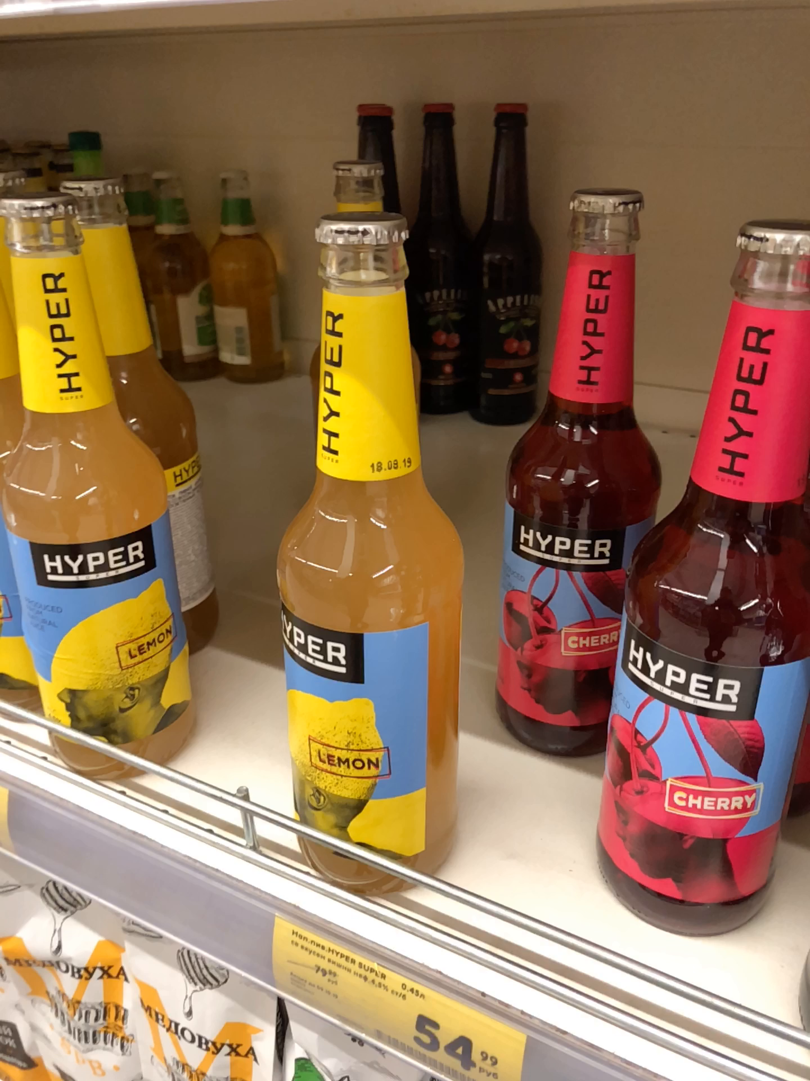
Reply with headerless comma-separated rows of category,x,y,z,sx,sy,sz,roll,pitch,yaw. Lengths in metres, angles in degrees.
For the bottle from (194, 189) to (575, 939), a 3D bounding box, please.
bottle,-0.005,0.008,0.317,0.080,0.239,0.080,-1,26,0
